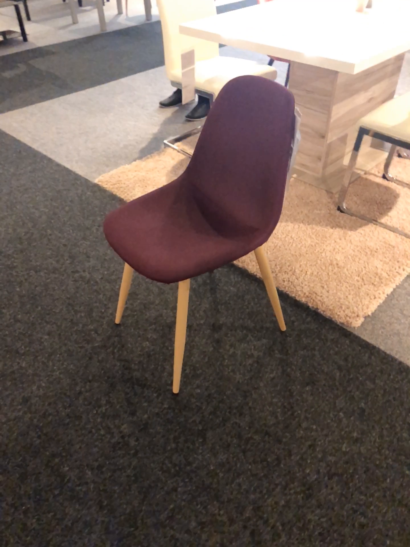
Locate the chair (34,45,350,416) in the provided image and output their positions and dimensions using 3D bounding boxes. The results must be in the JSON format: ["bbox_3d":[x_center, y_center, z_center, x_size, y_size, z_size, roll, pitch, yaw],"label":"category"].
[{"bbox_3d":[-0.025,-0.136,1.299,0.572,0.795,0.471,-28,47,-29],"label":"chair"}]
